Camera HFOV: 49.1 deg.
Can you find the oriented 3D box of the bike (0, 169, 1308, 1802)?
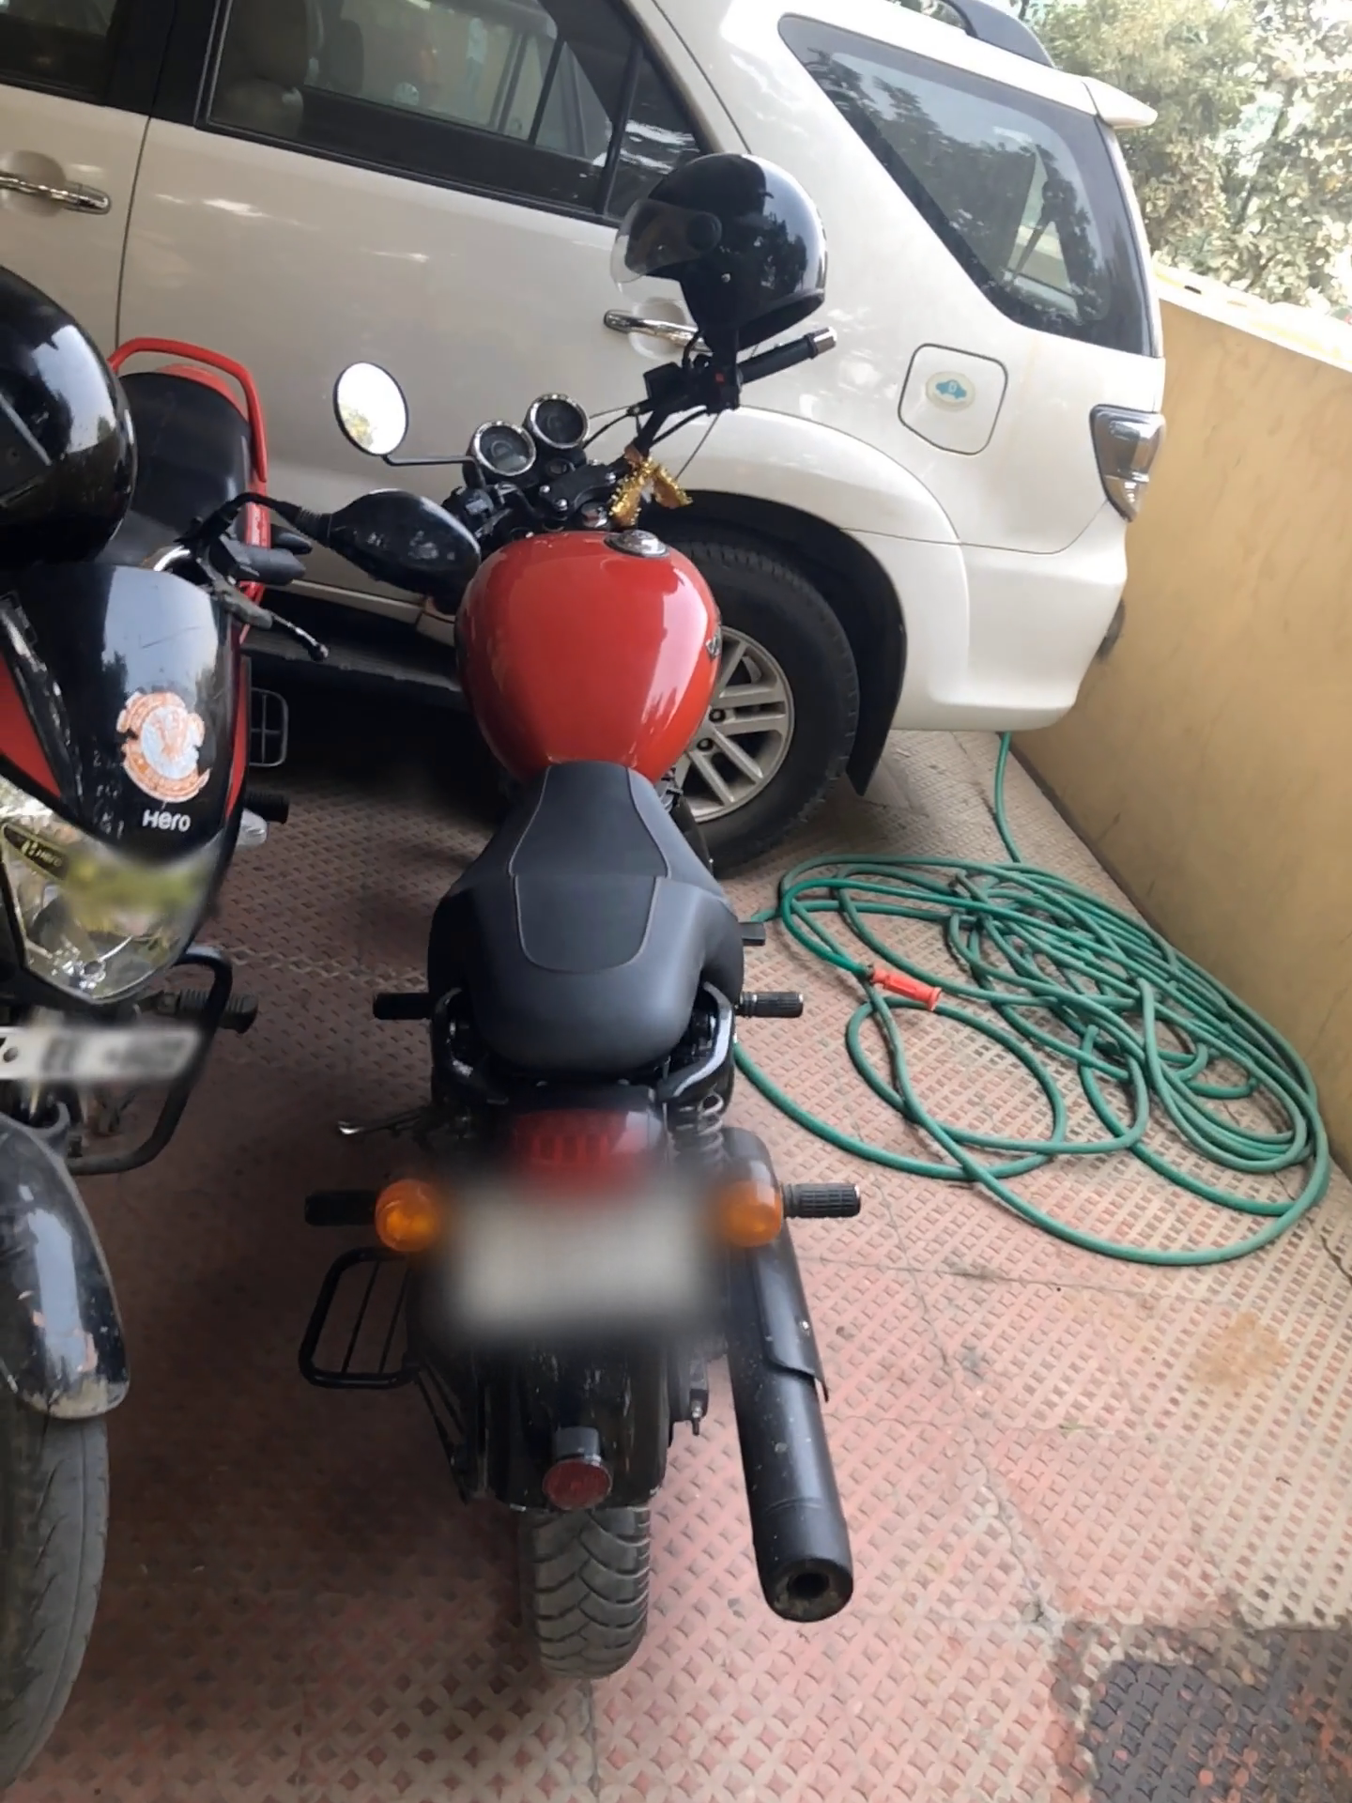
[{"bbox_3d":[-0.254,-0.085,1.915,0.820,1.270,1.721,10,28,-13],"label":"bike"}]
